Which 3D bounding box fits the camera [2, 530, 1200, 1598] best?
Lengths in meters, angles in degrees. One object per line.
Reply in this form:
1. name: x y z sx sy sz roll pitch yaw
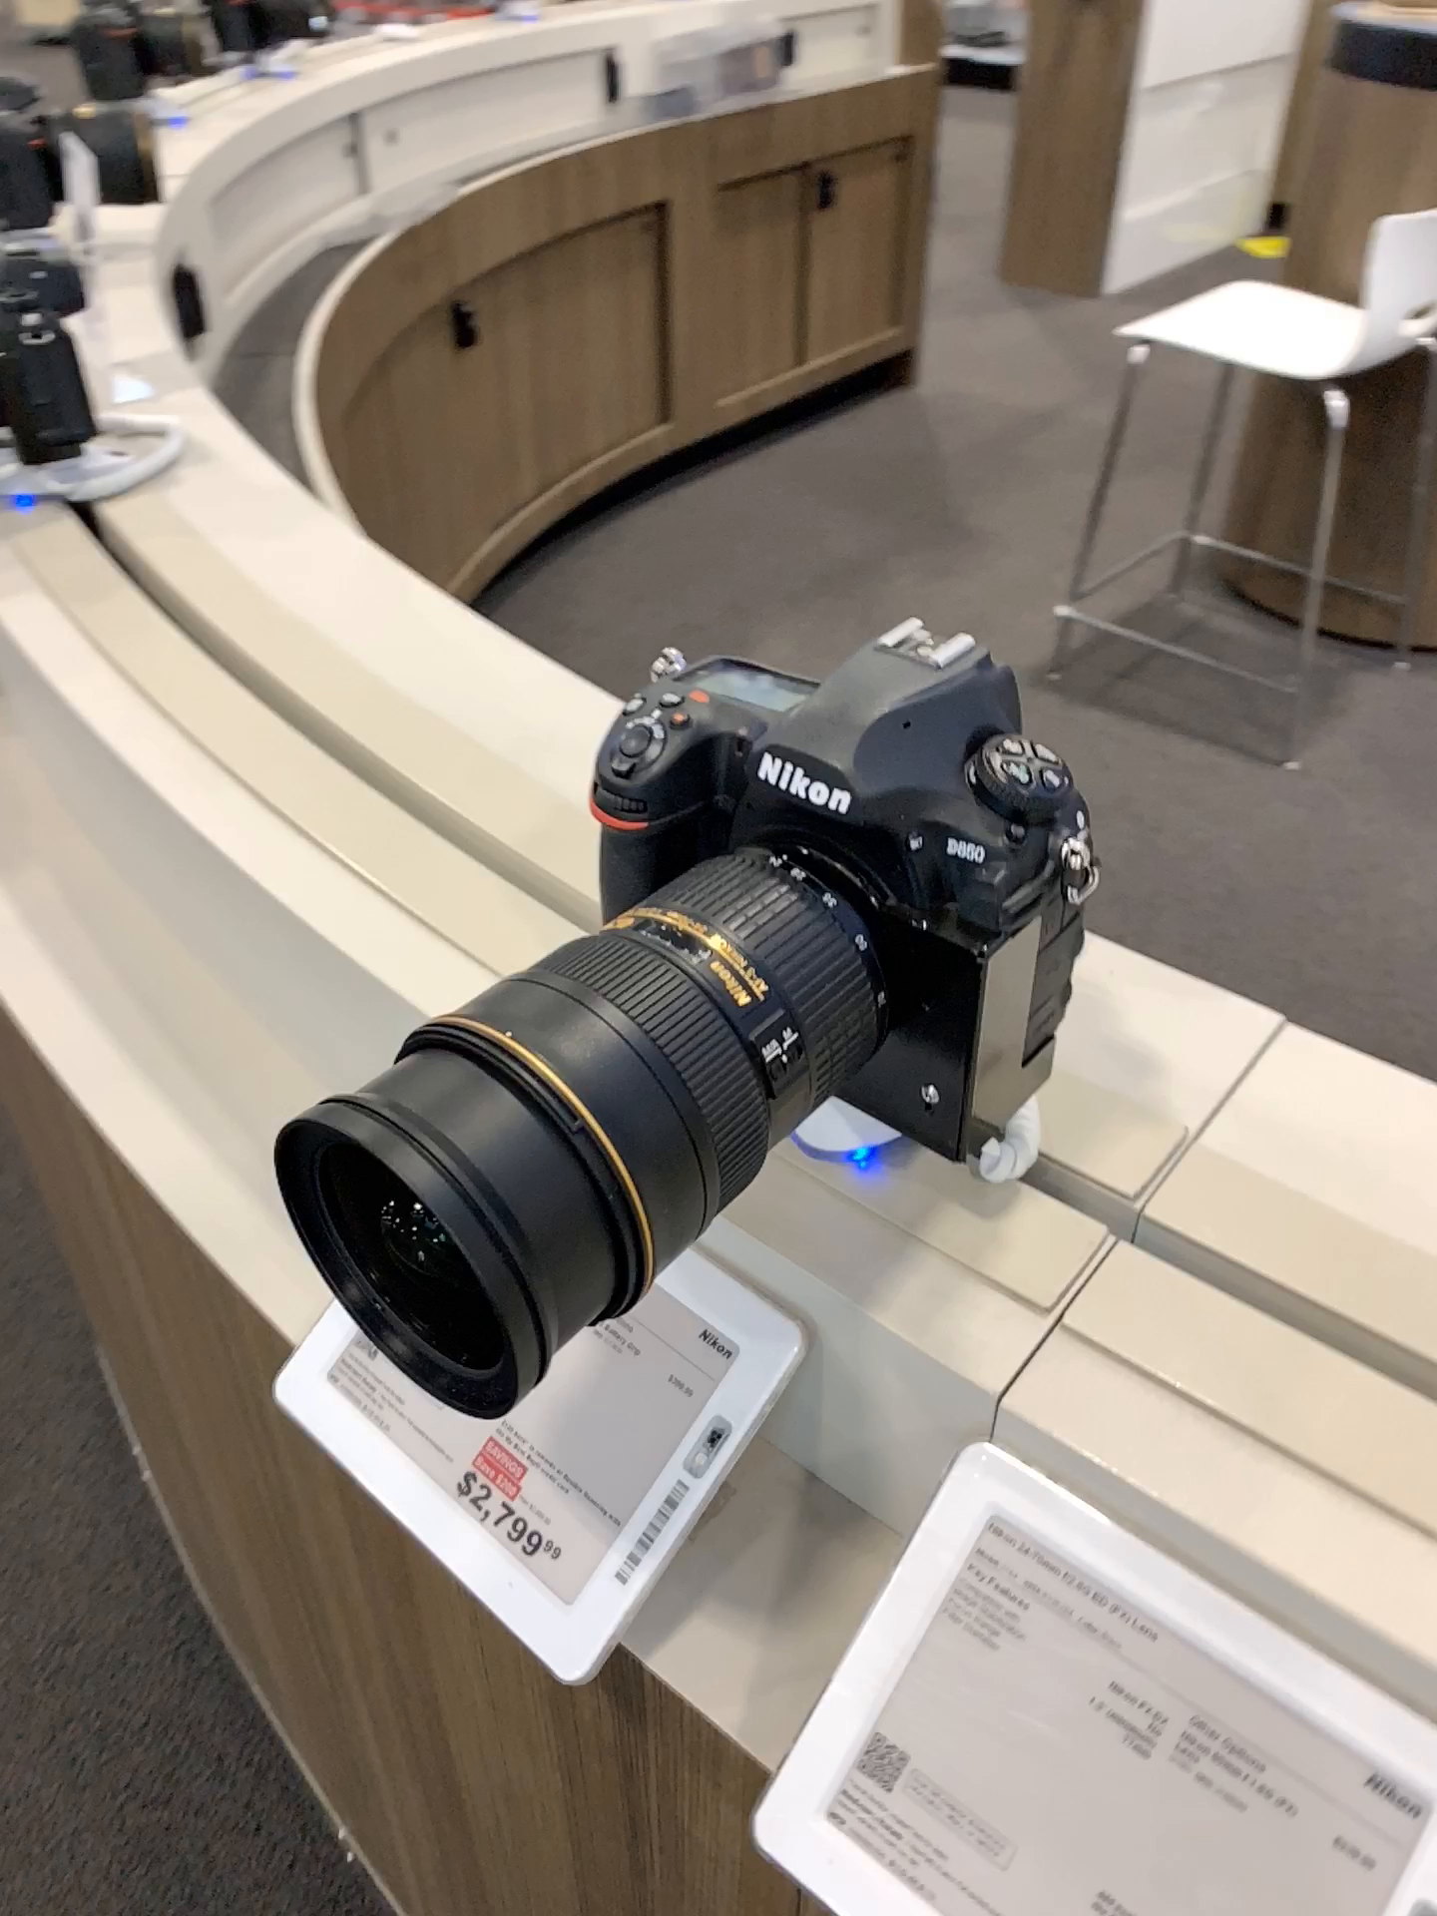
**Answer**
1. camera: -0.014 -0.002 0.382 0.160 0.109 0.241 27 45 30
